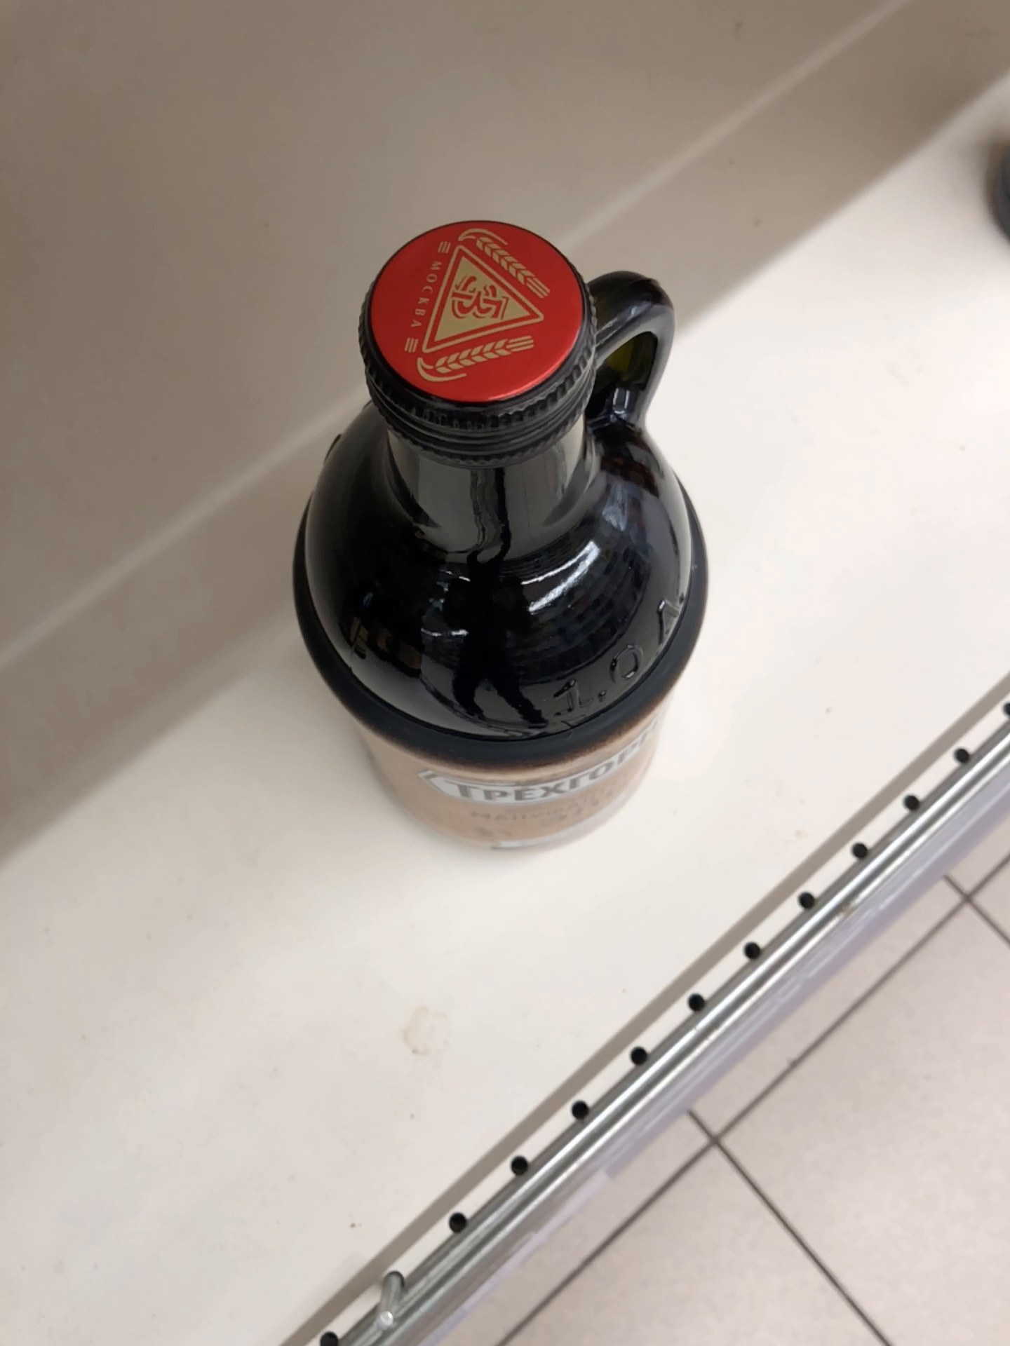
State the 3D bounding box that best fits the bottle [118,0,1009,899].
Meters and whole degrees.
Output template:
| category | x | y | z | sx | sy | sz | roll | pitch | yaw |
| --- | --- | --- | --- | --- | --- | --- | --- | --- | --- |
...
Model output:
| category | x | y | z | sx | sy | sz | roll | pitch | yaw |
| --- | --- | --- | --- | --- | --- | --- | --- | --- | --- |
| bottle | 0.012 | -0.027 | 0.286 | 0.110 | 0.226 | 0.100 | -1 | 72 | 2 |
